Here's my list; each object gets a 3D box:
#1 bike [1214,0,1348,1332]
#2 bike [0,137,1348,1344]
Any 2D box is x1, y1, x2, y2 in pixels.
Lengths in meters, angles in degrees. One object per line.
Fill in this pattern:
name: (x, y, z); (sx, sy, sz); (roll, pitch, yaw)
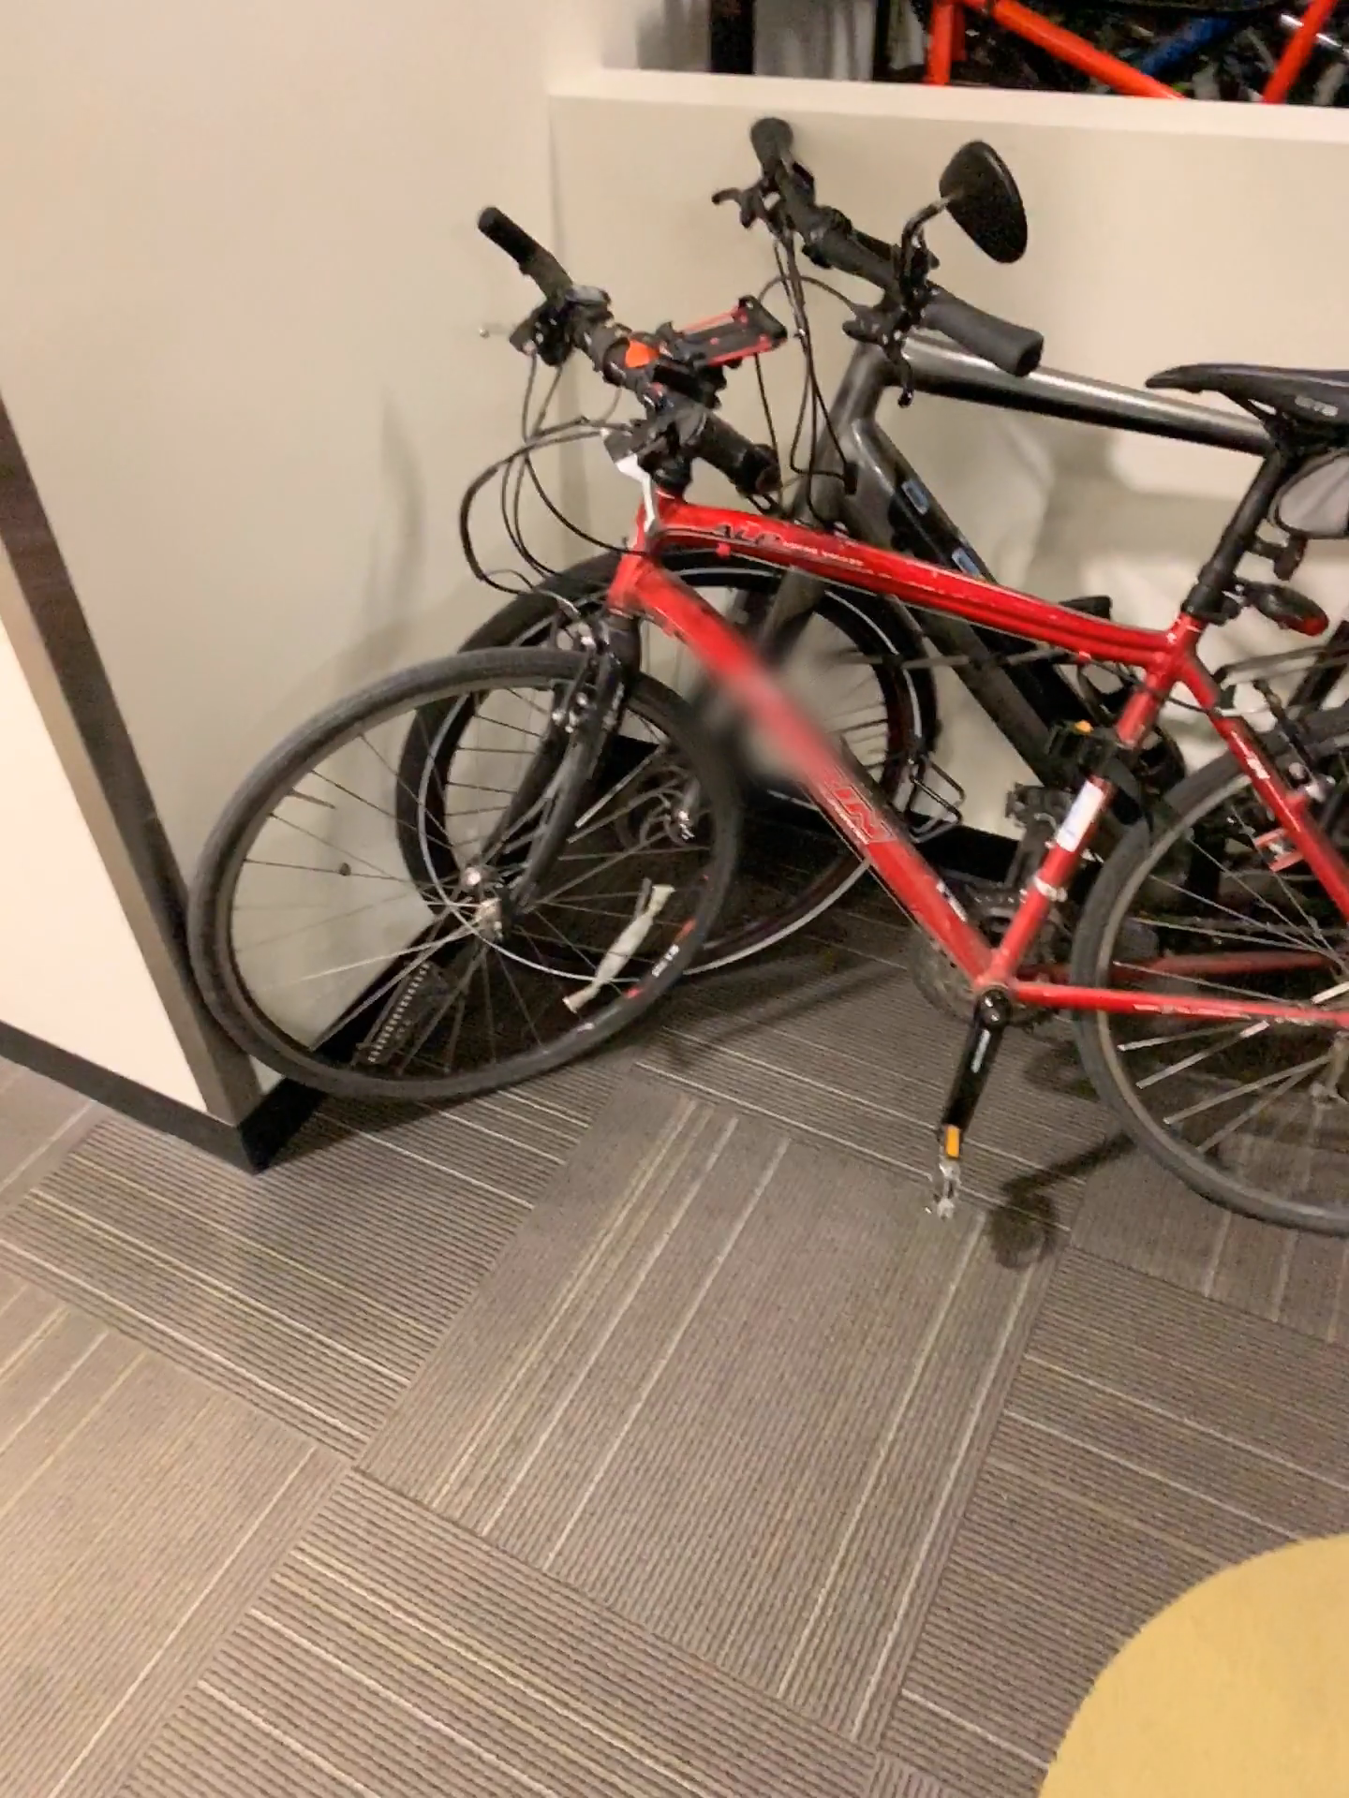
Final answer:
bike: (1.073, -0.241, 1.466); (0.726, 1.148, 0.696); (6, 42, 3)
bike: (0.320, -0.138, 1.423); (1.611, 0.927, 0.606); (4, 42, 3)
